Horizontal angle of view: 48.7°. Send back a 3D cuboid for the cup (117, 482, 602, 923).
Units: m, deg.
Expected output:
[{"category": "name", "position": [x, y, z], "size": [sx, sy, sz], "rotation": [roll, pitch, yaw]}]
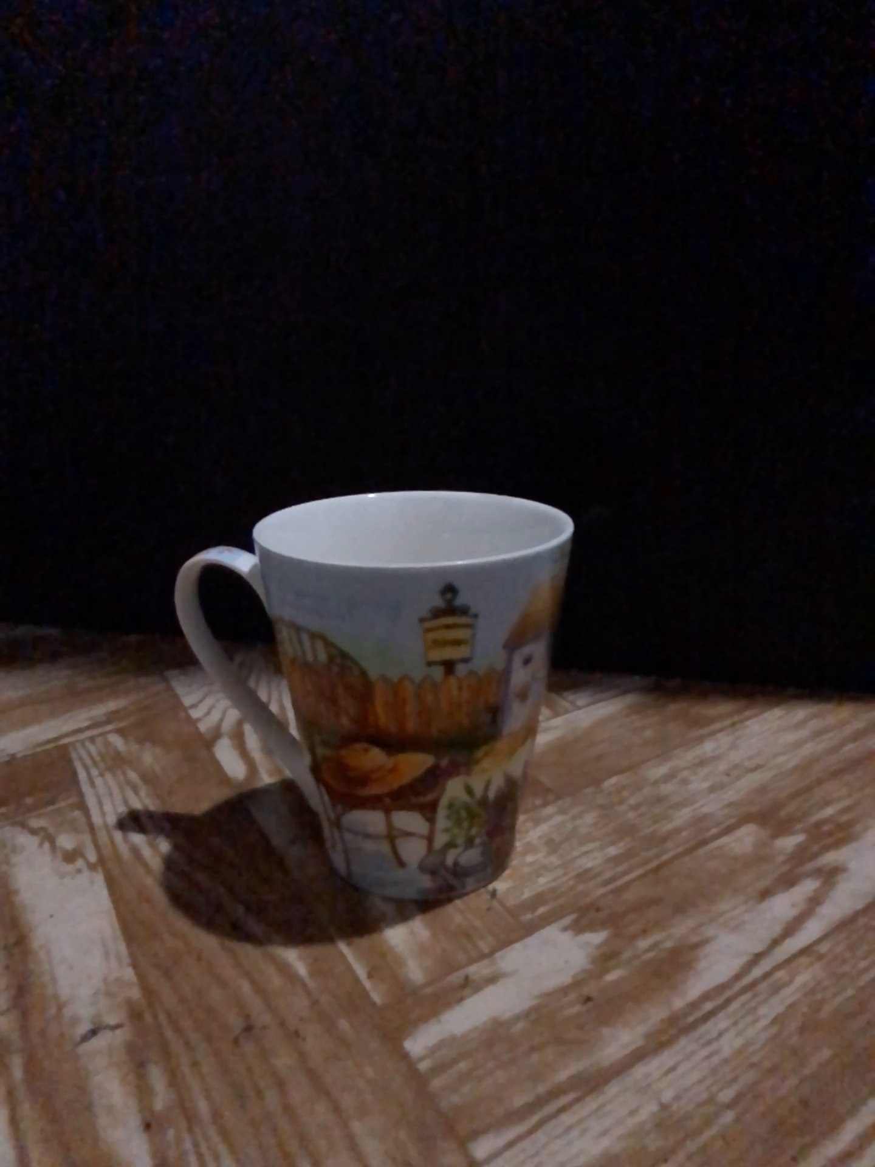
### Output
[{"category": "cup", "position": [-0.013, 0.025, 0.267], "size": [0.111, 0.090, 0.080], "rotation": [2, 17, 10]}]
